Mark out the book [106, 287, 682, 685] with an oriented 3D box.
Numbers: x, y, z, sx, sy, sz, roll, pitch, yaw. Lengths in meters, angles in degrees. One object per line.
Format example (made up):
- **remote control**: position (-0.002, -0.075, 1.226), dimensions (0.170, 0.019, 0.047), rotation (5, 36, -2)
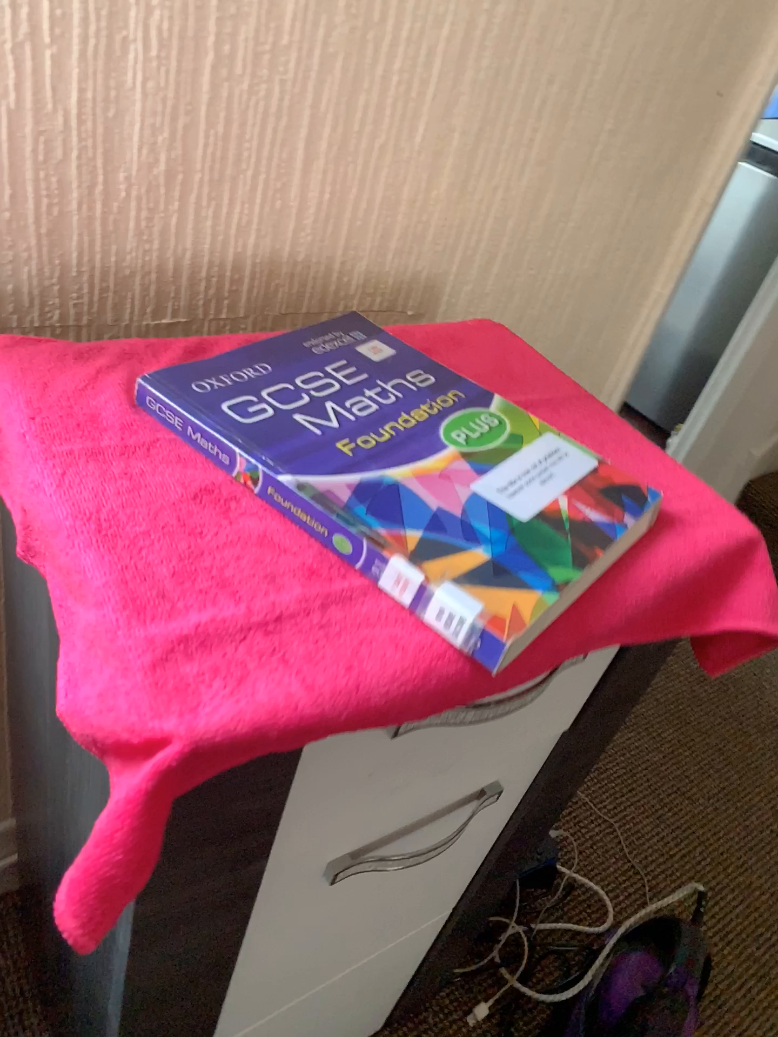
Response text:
- **book**: position (0.009, -0.049, 0.478), dimensions (0.281, 0.030, 0.212), rotation (35, 39, 22)
